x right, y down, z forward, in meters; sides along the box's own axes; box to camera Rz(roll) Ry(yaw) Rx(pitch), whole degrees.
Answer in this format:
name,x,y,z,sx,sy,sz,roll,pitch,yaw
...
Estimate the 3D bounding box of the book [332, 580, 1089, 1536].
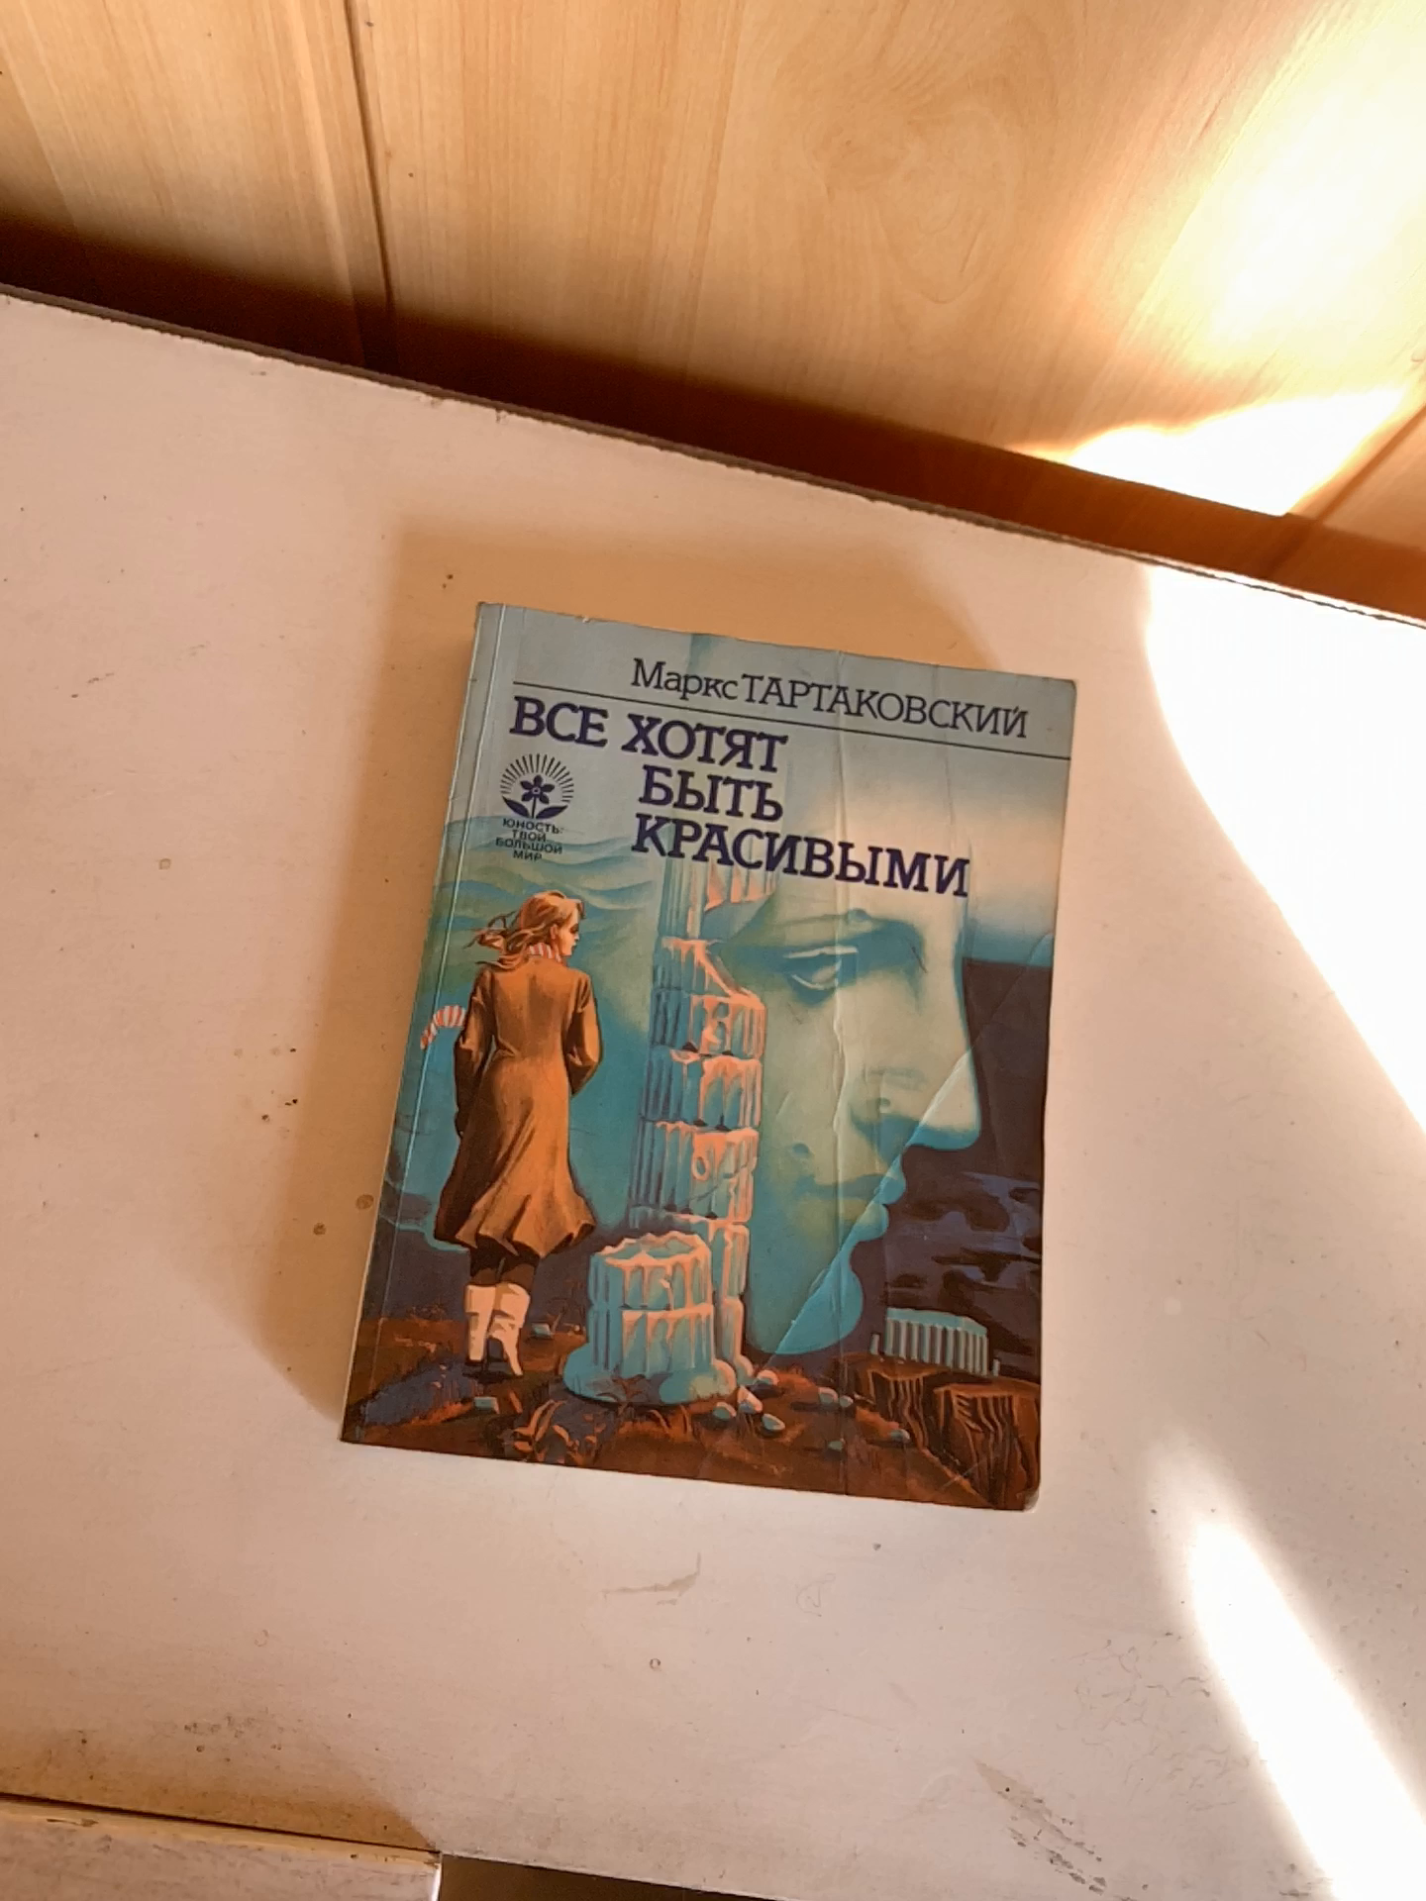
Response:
name,x,y,z,sx,sy,sz,roll,pitch,yaw
book,0.005,0.015,0.270,0.120,0.013,0.160,7,75,-3
